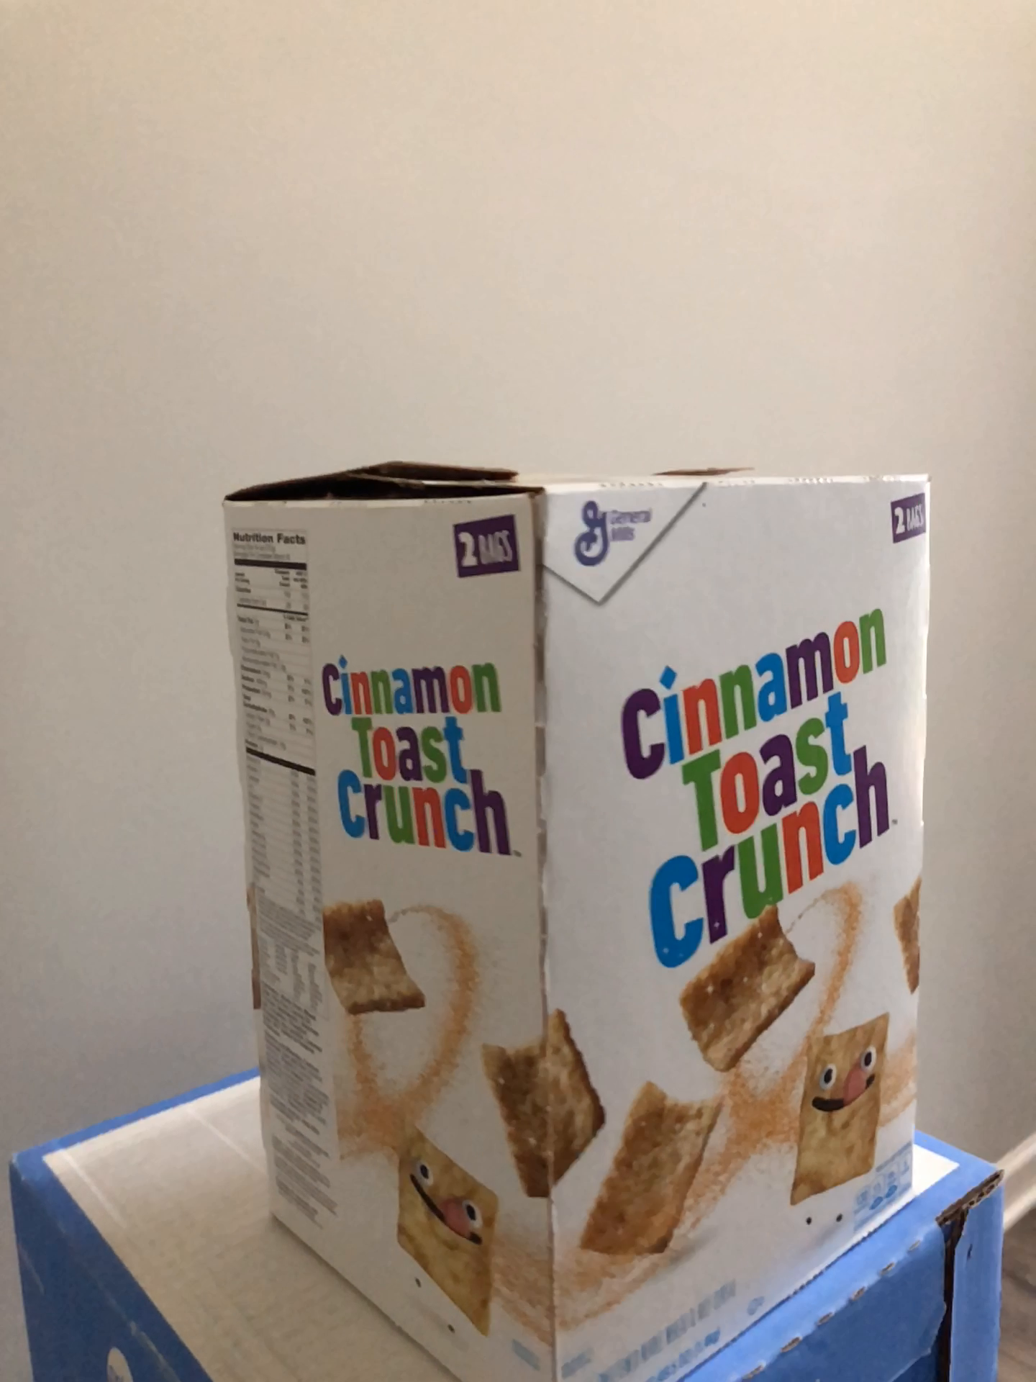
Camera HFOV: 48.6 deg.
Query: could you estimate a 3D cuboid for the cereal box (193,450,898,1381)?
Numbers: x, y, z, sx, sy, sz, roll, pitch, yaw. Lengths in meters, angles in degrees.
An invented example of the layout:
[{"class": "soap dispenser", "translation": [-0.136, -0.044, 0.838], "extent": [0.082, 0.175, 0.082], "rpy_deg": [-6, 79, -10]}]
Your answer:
[{"class": "cereal box", "translation": [0.016, 0.068, 0.451], "extent": [0.200, 0.309, 0.170], "rpy_deg": [-10, 12, -41]}]
